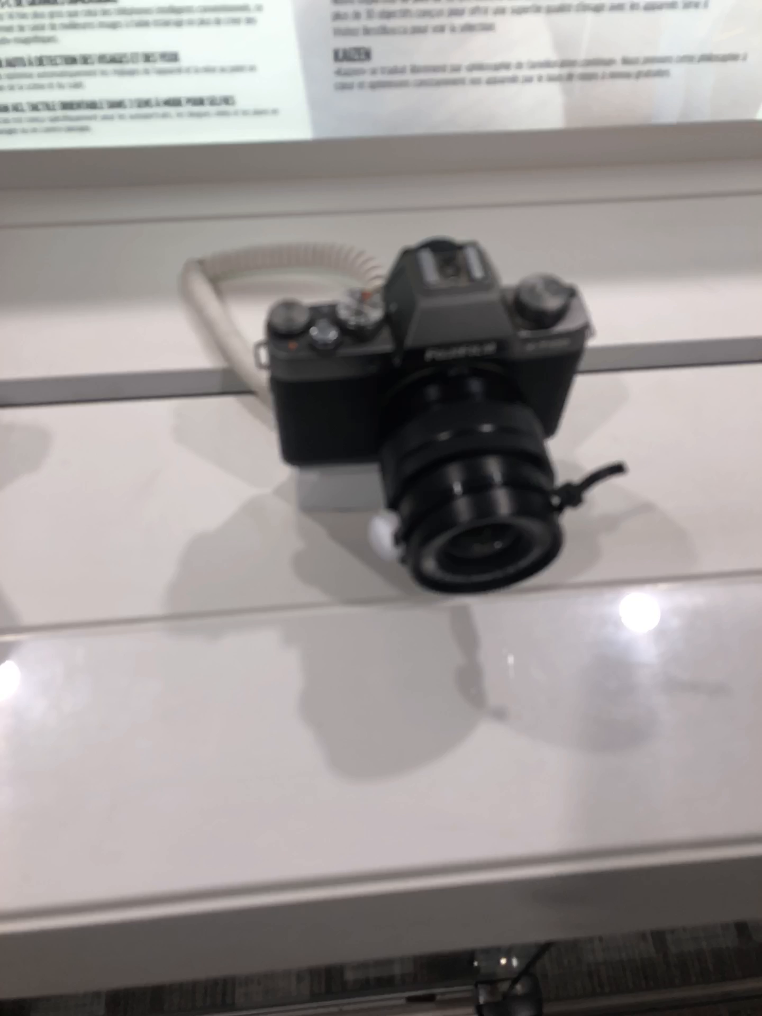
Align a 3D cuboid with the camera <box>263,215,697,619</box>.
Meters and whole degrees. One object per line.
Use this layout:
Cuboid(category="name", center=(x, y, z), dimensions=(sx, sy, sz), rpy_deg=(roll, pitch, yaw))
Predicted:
Cuboid(category="camera", center=(0.026, -0.034, 0.318), dimensions=(0.130, 0.099, 0.108), rpy_deg=(-4, 52, -3))
